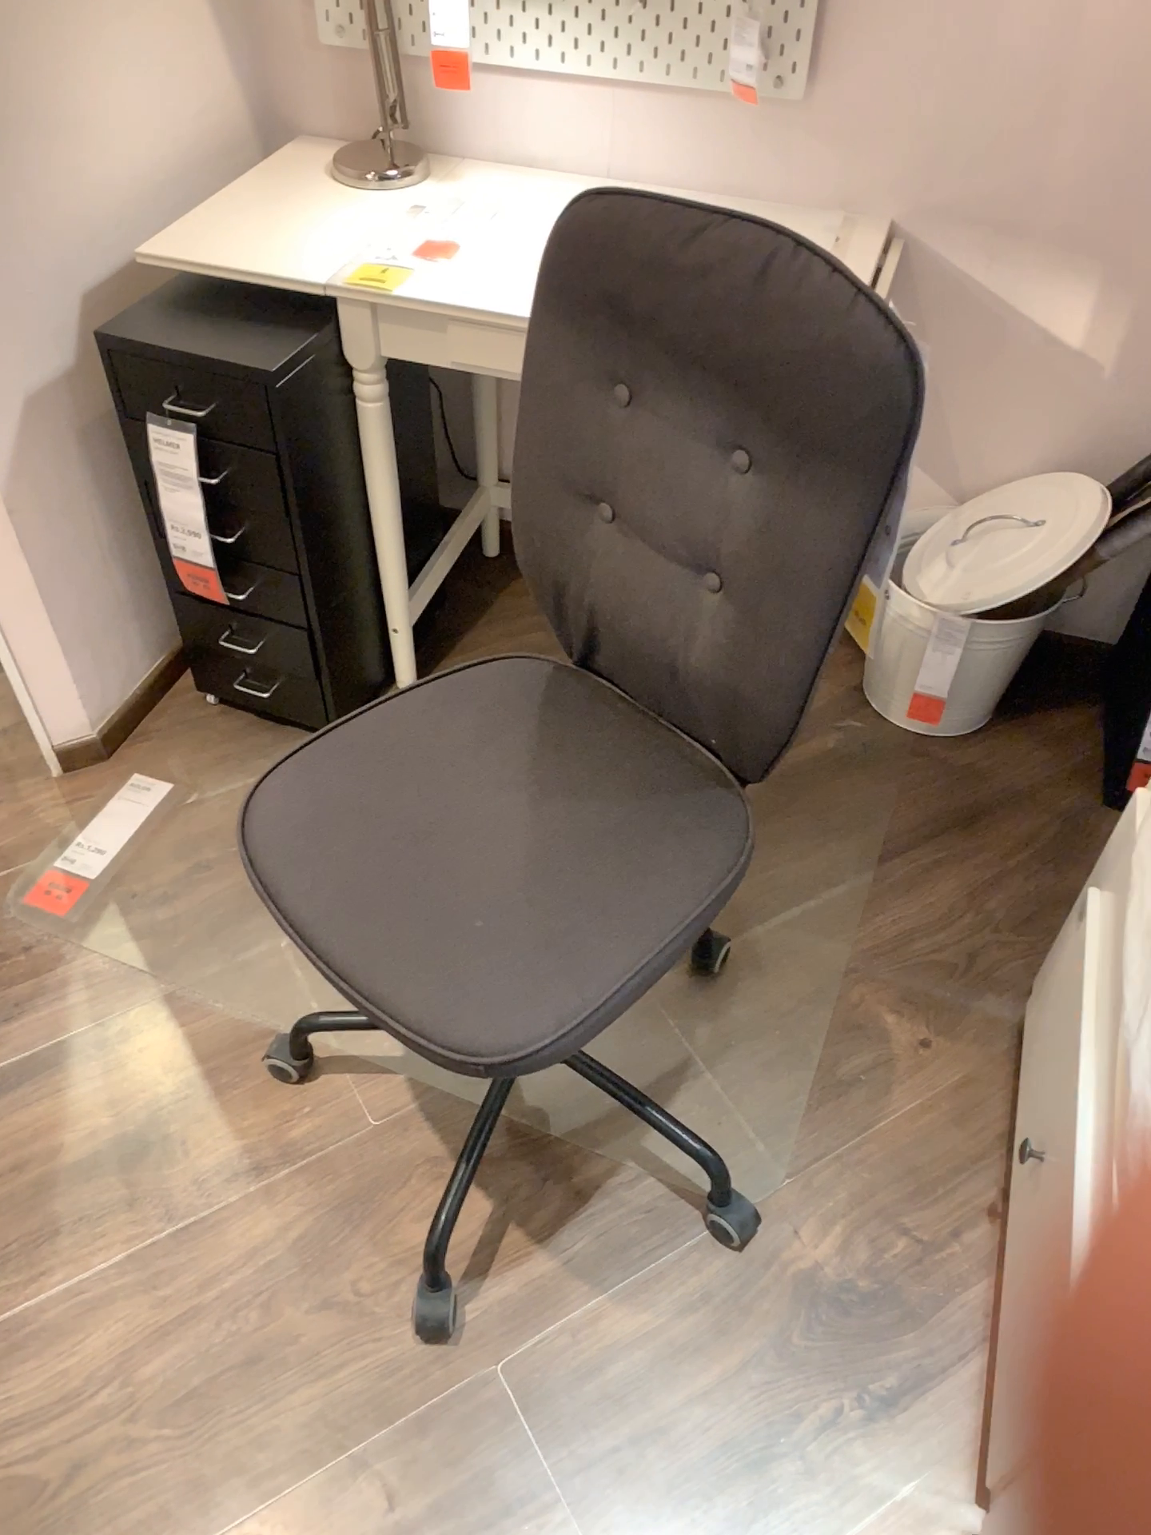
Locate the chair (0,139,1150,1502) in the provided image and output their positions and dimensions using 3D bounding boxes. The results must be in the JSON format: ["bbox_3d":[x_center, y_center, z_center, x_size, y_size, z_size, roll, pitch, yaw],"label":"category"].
[{"bbox_3d":[-0.015,0.053,1.167,0.651,0.947,0.731,33,54,27],"label":"chair"}]
